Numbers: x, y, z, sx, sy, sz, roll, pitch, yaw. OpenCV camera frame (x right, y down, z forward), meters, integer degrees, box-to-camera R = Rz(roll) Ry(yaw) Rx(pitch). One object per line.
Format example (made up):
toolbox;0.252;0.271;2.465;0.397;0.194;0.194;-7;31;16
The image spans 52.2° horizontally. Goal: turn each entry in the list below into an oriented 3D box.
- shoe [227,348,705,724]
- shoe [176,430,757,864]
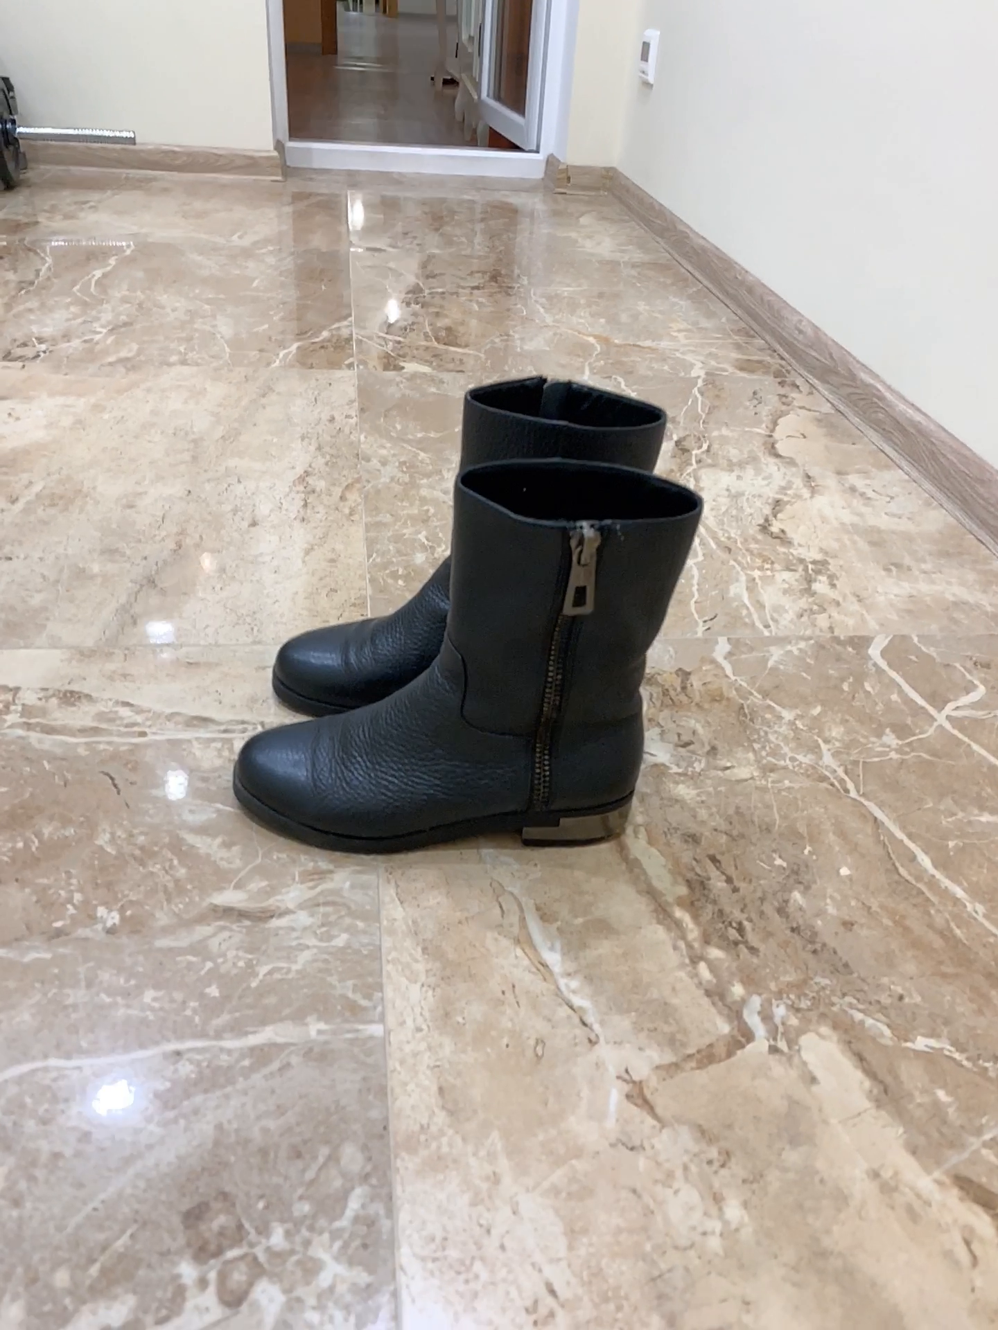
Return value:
shoe;-0.024;-0.077;0.649;0.260;0.209;0.091;2;34;-4
shoe;-0.020;-0.004;0.552;0.260;0.209;0.091;2;34;-3
